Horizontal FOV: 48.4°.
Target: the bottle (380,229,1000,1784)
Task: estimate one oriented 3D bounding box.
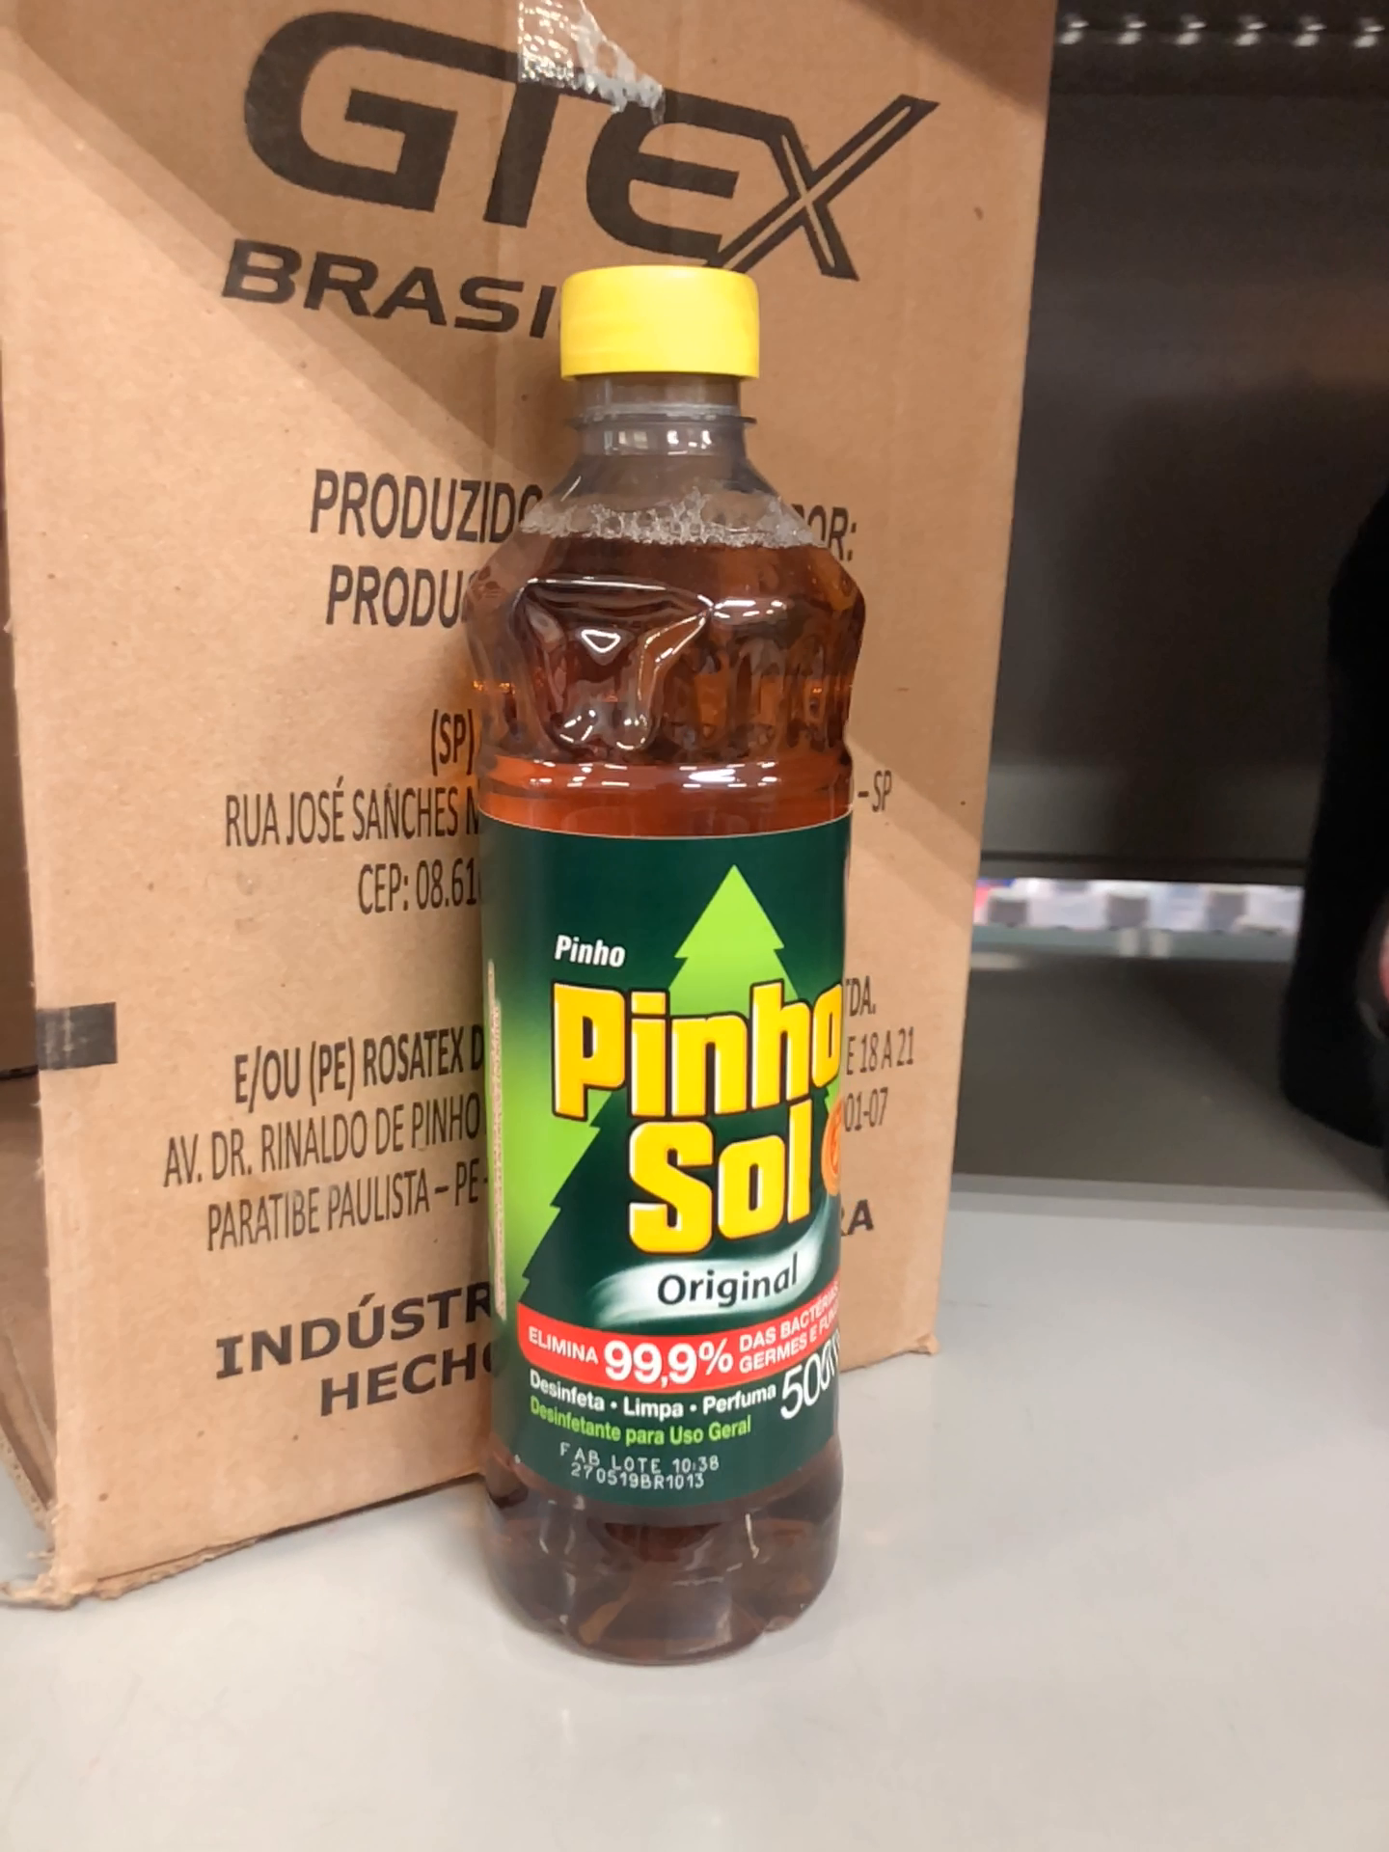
[{"bbox_3d":[-0.007,0.014,0.249,0.070,0.219,0.060,-5,16,-26],"label":"bottle"}]
